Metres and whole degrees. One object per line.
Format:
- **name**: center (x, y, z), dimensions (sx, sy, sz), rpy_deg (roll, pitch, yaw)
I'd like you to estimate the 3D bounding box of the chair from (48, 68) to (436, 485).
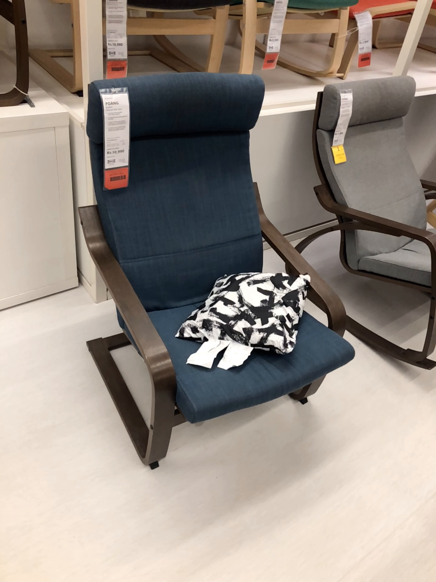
- **chair**: center (-0.009, -0.092, 1.440), dimensions (0.722, 0.884, 0.693), rpy_deg (-15, 44, -27)
